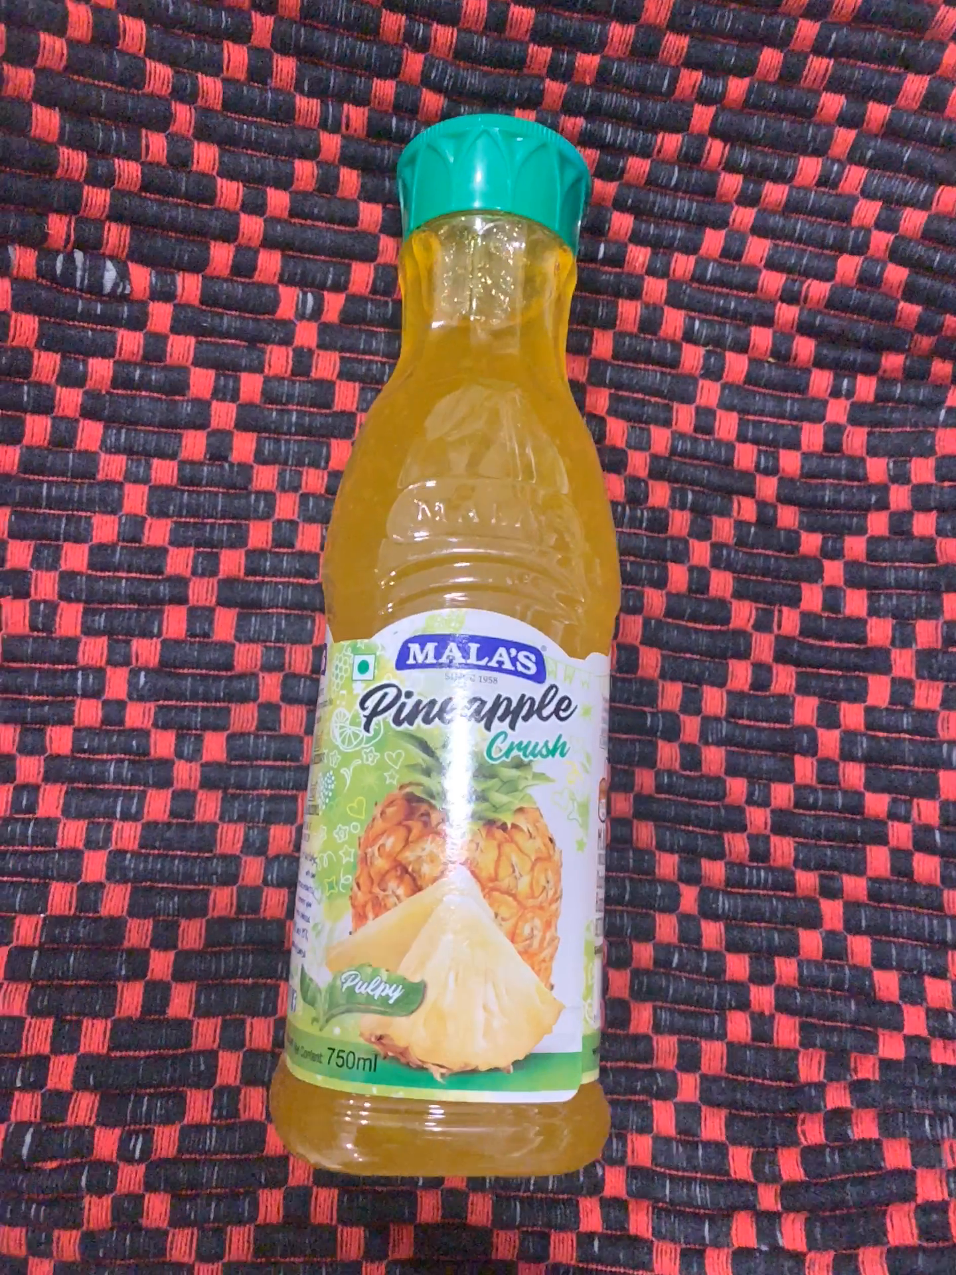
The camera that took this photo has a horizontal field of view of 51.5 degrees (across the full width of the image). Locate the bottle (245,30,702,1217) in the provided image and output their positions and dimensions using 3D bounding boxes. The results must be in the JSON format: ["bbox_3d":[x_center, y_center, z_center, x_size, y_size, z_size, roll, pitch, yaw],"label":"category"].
[{"bbox_3d":[0.000,-0.007,0.228,0.080,0.070,0.230,4,79,-9],"label":"bottle"}]
